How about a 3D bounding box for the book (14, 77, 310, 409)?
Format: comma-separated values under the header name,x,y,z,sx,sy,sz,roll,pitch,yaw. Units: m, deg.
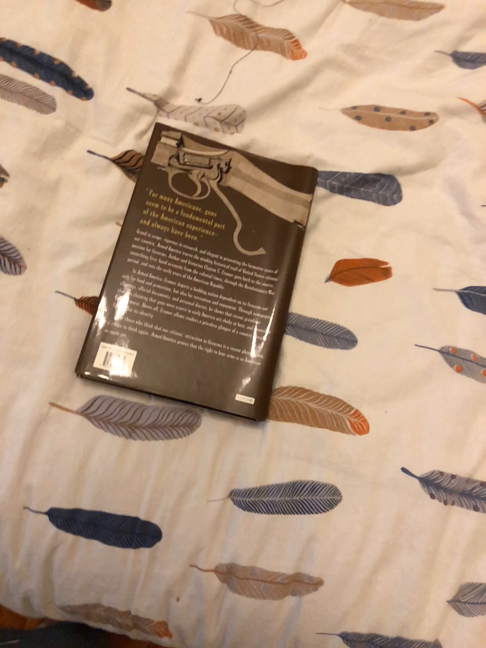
name,x,y,z,sx,sy,sz,roll,pitch,yaw
book,-0.059,-0.069,0.455,0.180,0.030,0.240,16,78,-5
